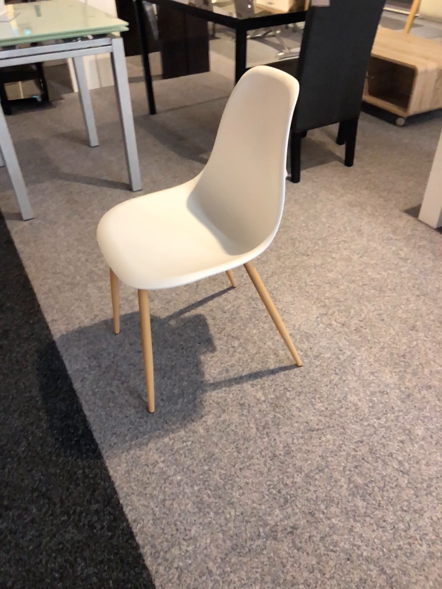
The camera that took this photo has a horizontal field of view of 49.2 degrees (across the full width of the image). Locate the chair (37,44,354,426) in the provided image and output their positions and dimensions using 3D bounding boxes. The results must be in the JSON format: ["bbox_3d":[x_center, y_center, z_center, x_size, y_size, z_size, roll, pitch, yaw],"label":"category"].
[{"bbox_3d":[-0.090,-0.193,1.439,0.602,0.845,0.572,-17,41,-19],"label":"chair"}]
